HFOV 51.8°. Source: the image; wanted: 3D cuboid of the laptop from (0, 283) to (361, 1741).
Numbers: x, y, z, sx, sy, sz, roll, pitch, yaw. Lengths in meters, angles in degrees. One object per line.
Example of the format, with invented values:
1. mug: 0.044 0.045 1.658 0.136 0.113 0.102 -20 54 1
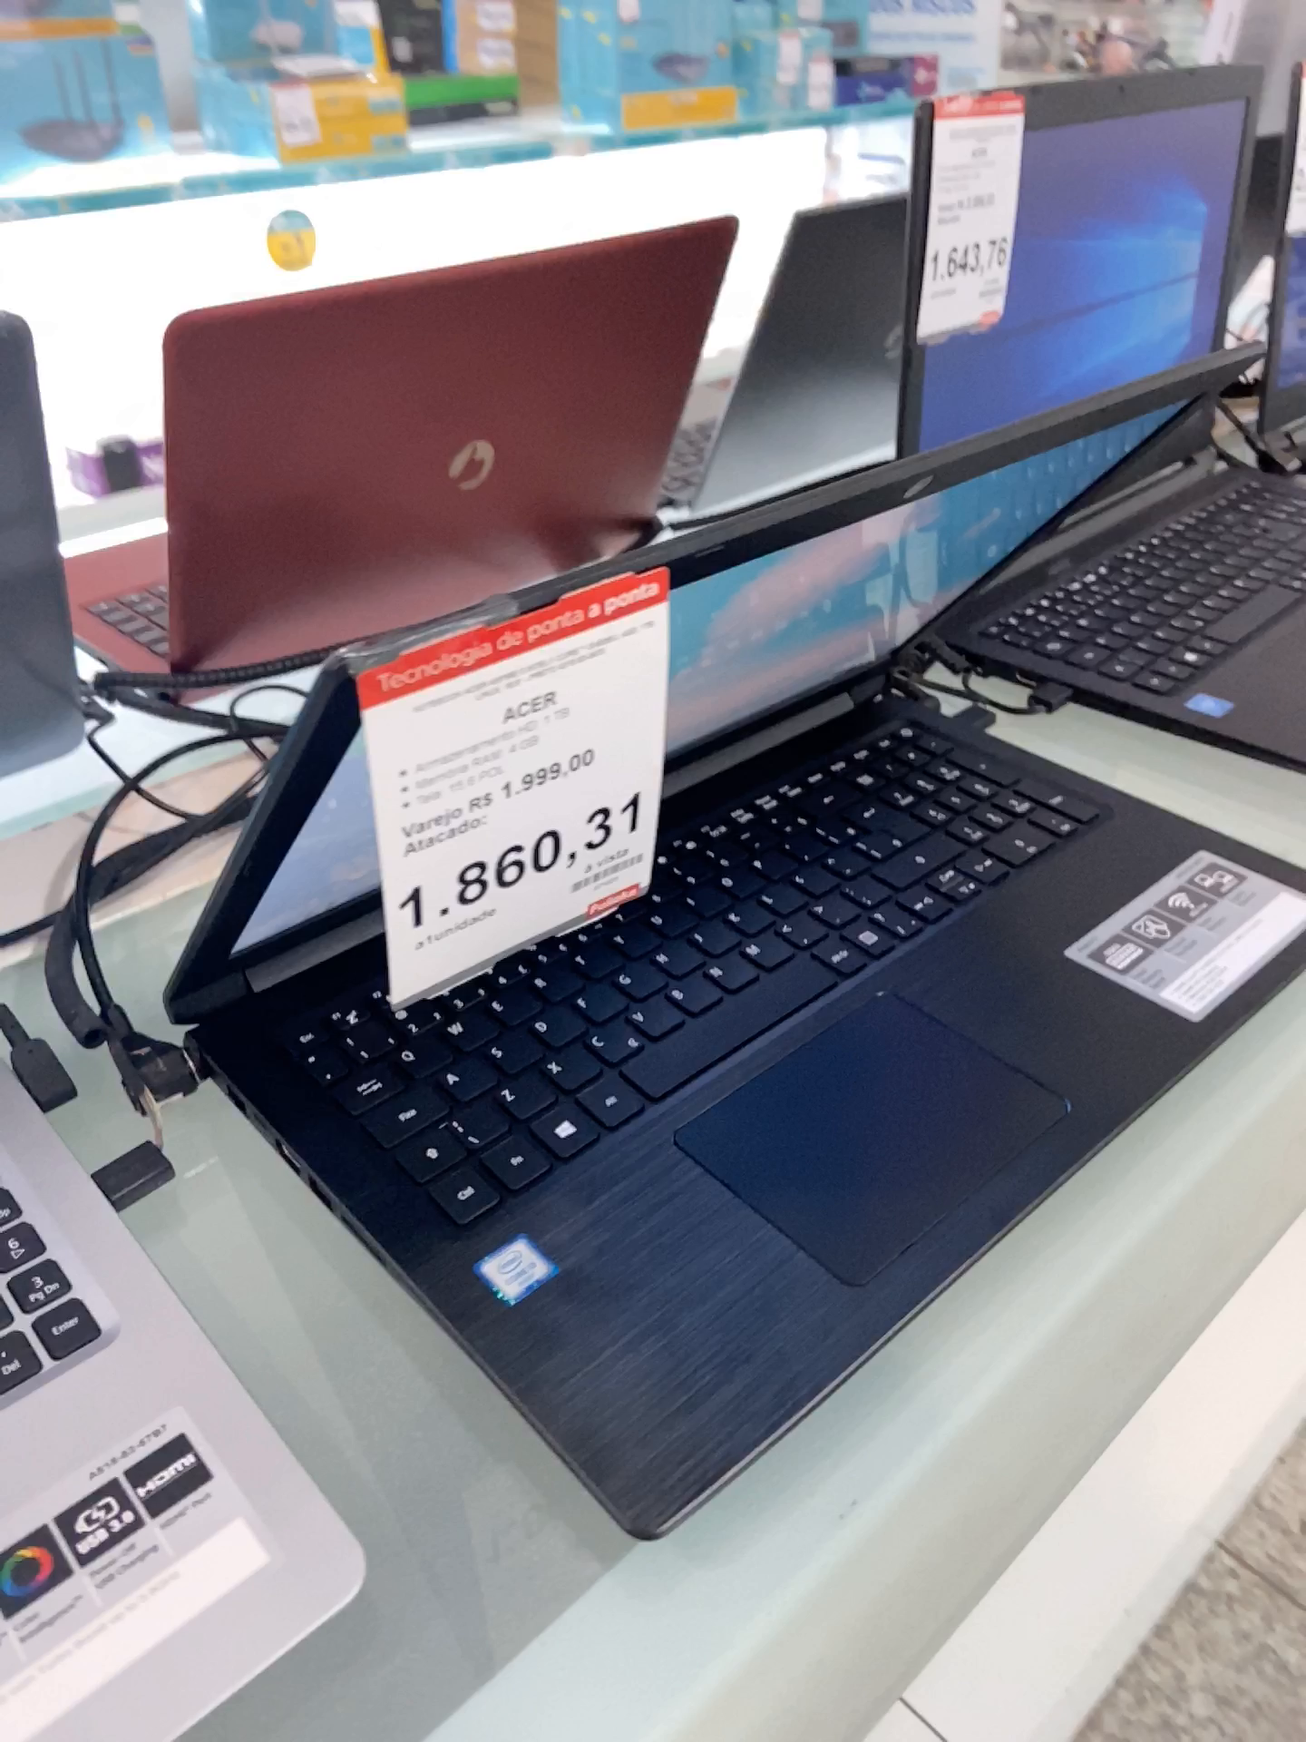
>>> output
1. laptop: -0.316 0.076 0.231 0.396 0.233 0.302 -27 41 -32

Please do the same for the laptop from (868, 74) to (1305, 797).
1. laptop: 0.359 -0.282 0.740 0.285 0.245 0.433 27 42 35

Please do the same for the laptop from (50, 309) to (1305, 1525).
1. laptop: 0.058 -0.041 0.443 0.375 0.186 0.234 -27 41 -33
